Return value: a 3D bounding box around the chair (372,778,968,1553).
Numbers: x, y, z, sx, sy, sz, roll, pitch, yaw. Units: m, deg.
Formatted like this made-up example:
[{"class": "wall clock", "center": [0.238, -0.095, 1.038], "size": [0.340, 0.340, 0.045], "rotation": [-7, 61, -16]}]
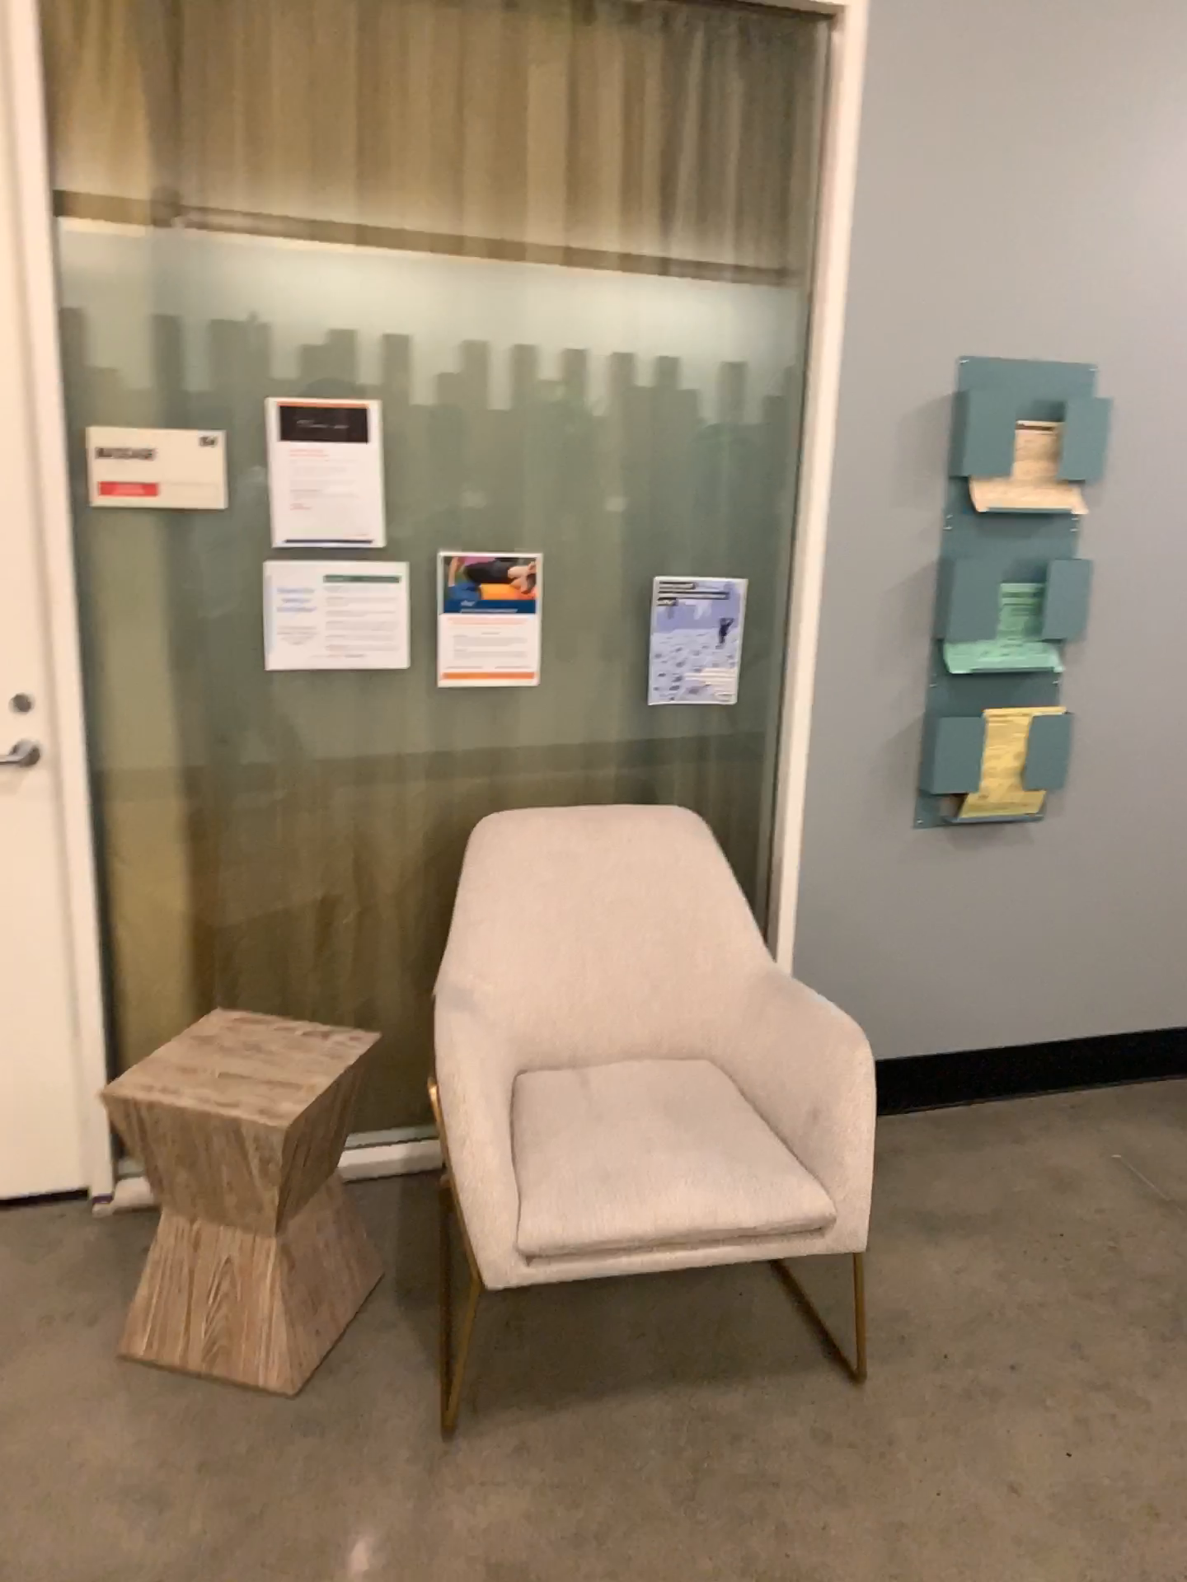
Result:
[{"class": "chair", "center": [0.037, 0.543, 2.167], "size": [0.780, 0.927, 0.874], "rotation": [-2, 14, -14]}]
